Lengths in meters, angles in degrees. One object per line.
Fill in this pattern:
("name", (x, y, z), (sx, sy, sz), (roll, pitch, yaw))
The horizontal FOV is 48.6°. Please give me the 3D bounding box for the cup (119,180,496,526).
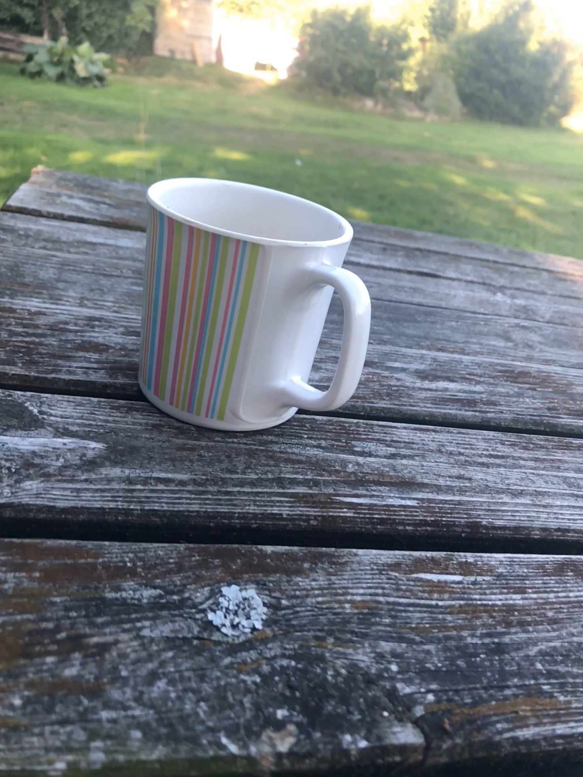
("cup", (-0.001, -0.029, 0.305), (0.099, 0.096, 0.133), (-19, 42, -41))
